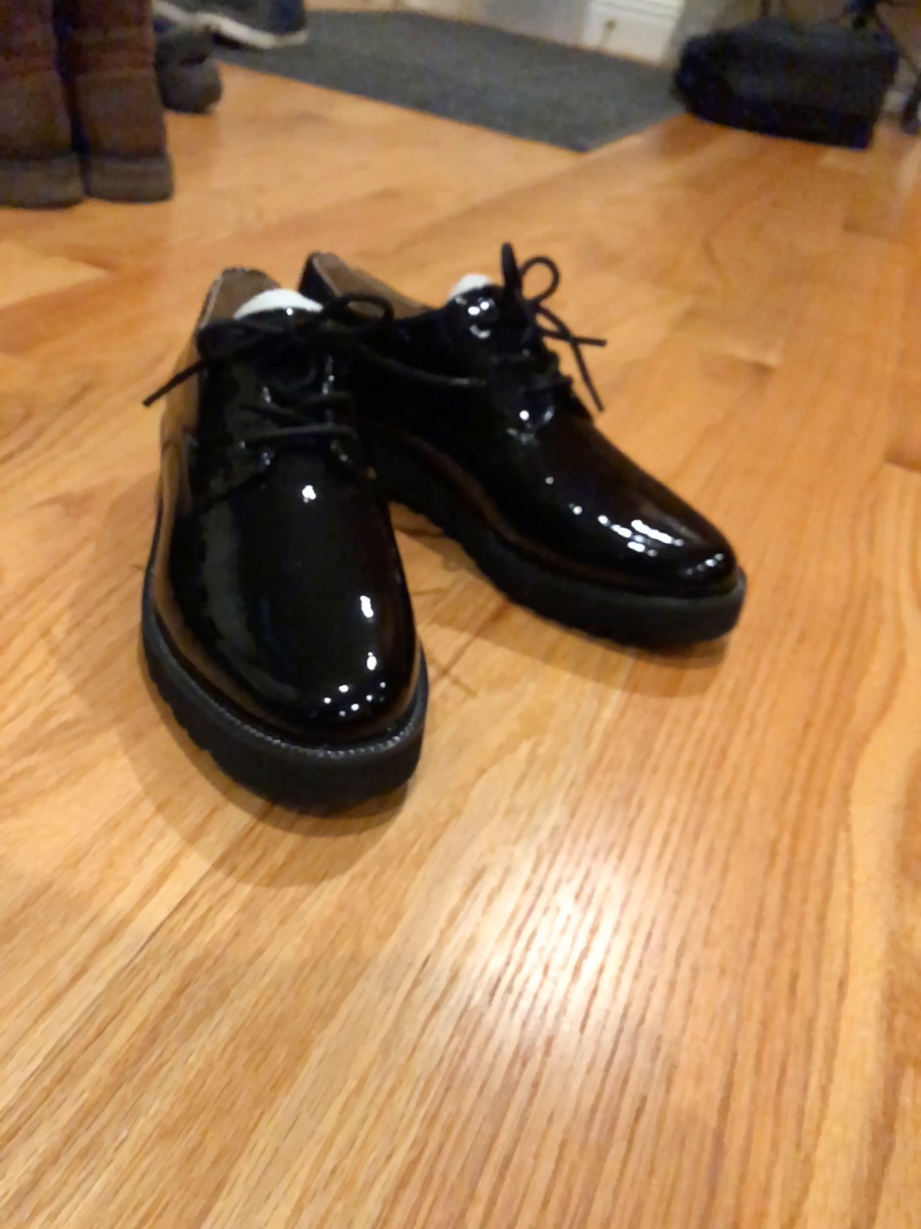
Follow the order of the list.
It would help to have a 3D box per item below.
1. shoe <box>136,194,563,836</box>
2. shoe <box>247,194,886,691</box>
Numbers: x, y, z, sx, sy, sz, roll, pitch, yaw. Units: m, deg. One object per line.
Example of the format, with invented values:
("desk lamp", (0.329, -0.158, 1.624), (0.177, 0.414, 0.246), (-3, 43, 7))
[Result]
("shoe", (-0.061, -0.056, 0.359), (0.095, 0.101, 0.252), (-1, 36, -18))
("shoe", (0.027, -0.090, 0.439), (0.251, 0.101, 0.095), (34, 40, 30))
